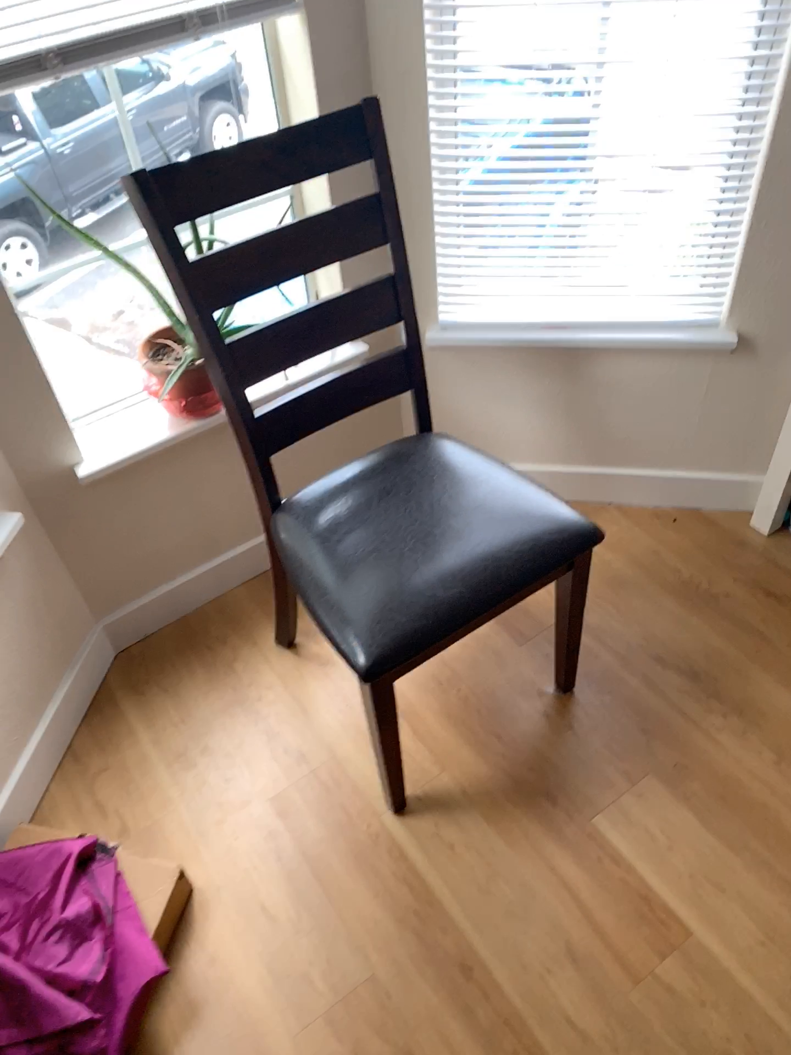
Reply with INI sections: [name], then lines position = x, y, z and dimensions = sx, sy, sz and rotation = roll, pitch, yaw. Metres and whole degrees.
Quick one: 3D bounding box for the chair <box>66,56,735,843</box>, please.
[chair]
position = 0.013, -0.087, 1.263
dimensions = 0.560, 0.946, 0.542
rotation = -29, 50, -21
